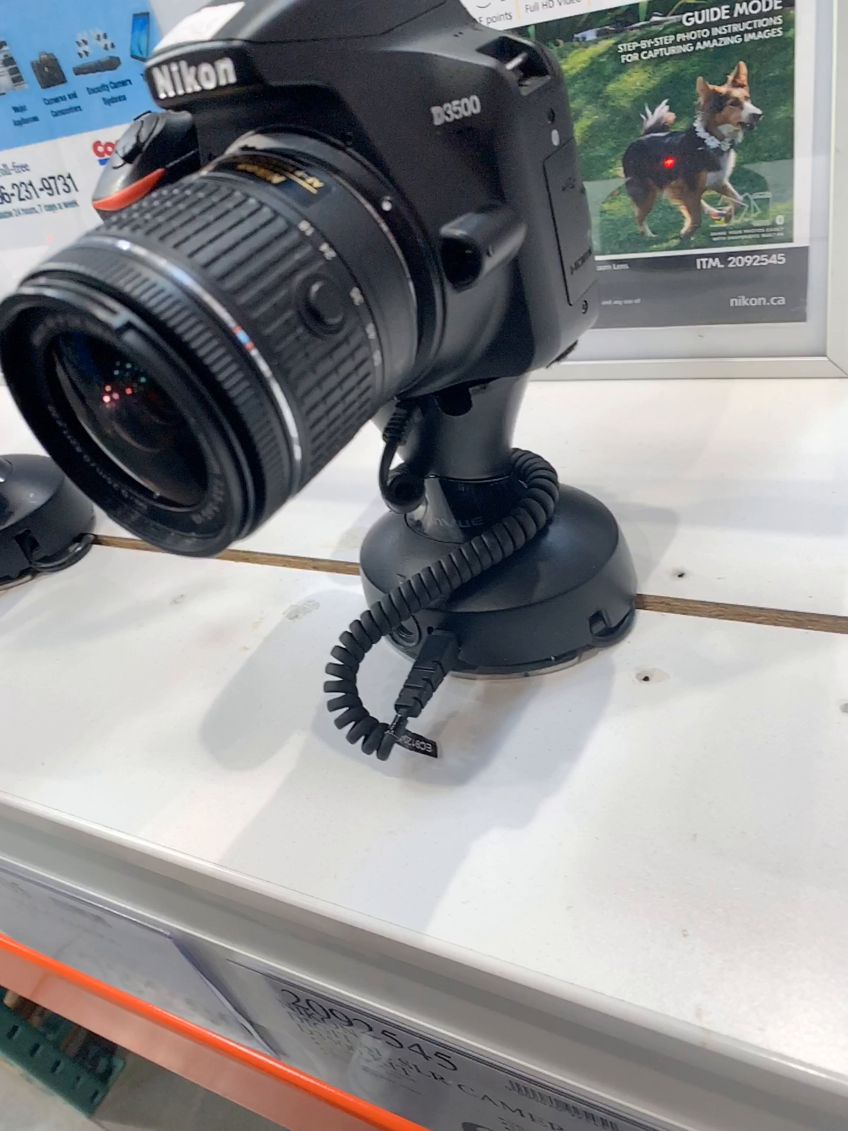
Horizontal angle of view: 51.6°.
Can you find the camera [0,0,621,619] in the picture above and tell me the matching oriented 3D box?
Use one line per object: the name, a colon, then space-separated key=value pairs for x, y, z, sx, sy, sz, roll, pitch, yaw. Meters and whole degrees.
camera: x=-0.037 y=-0.074 z=0.200 sx=0.117 sy=0.099 sz=0.121 roll=8 pitch=44 yaw=32
